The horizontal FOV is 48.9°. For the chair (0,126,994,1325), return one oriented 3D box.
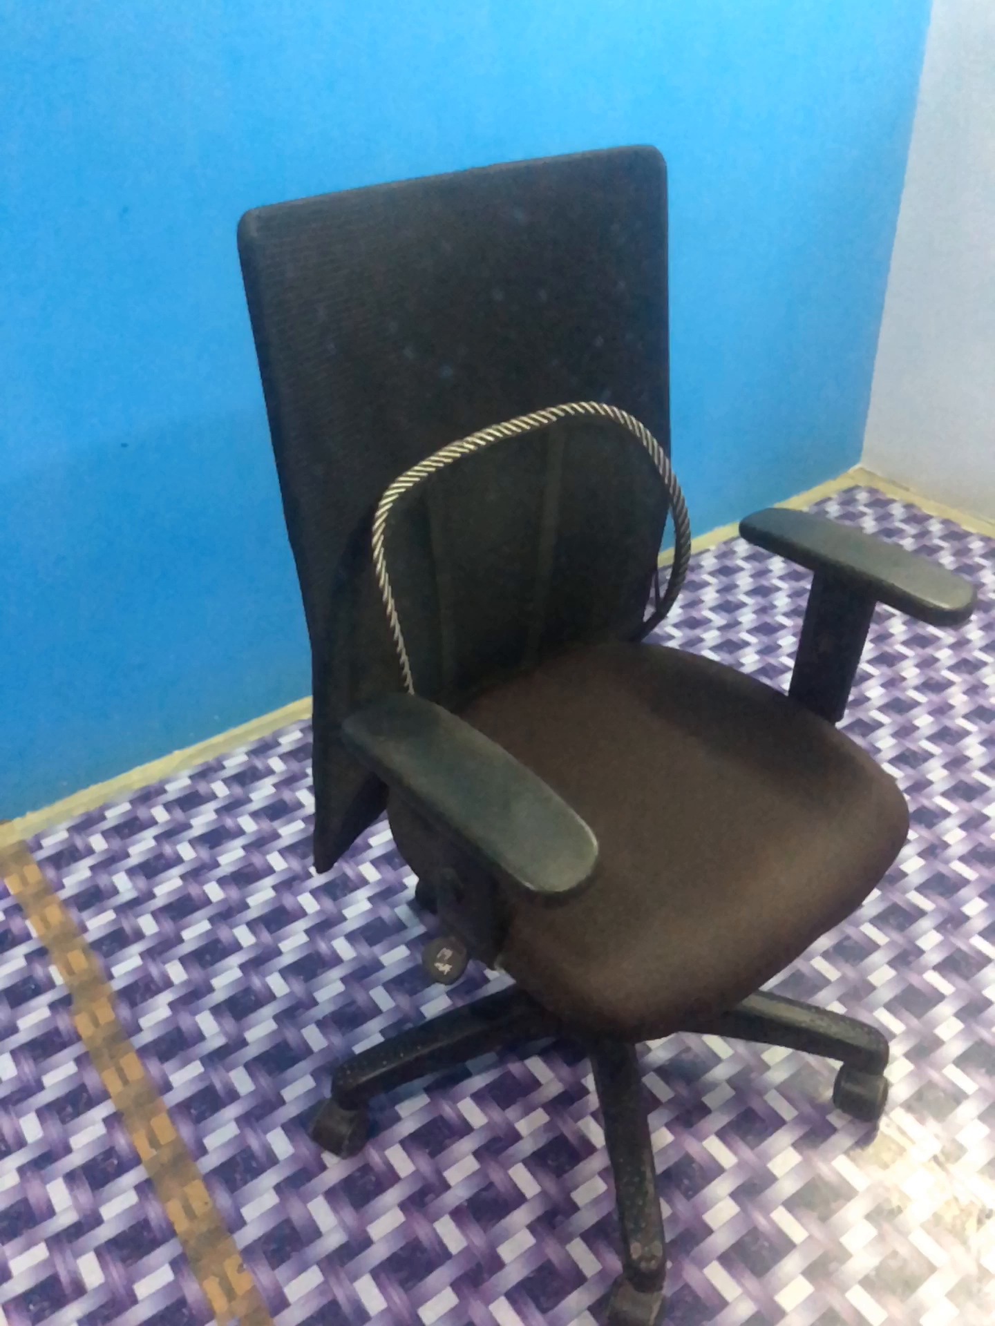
[{"bbox_3d":[0.079,0.048,1.045,0.663,0.885,0.671,-28,42,-34],"label":"chair"}]
